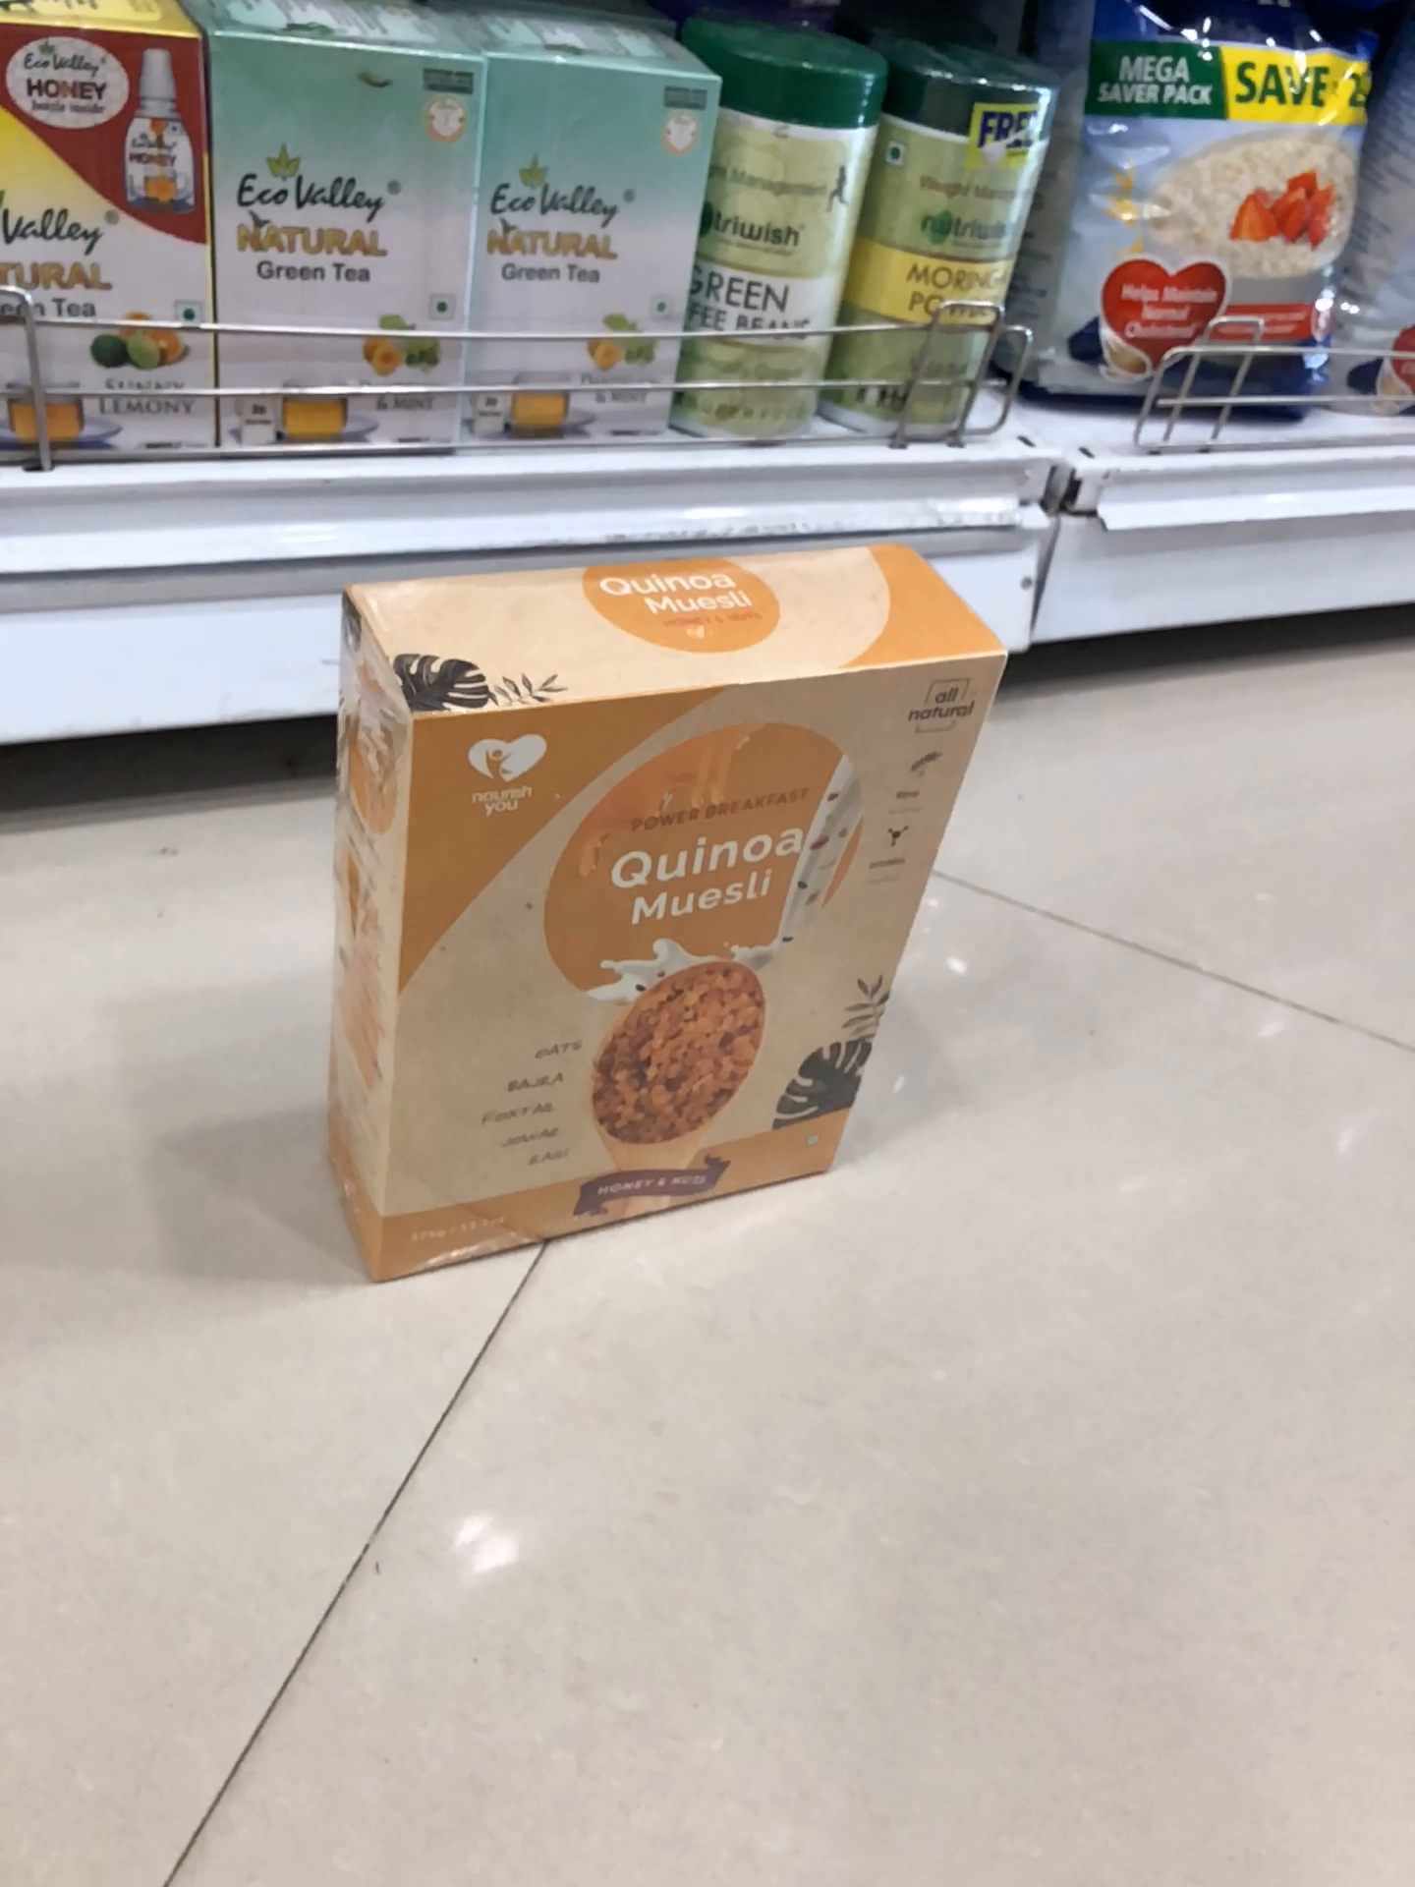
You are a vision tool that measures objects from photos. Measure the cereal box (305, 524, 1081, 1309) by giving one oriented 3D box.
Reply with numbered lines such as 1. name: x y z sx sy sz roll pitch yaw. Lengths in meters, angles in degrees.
1. cereal box: -0.016 -0.005 0.425 0.171 0.199 0.060 -10 46 -24
